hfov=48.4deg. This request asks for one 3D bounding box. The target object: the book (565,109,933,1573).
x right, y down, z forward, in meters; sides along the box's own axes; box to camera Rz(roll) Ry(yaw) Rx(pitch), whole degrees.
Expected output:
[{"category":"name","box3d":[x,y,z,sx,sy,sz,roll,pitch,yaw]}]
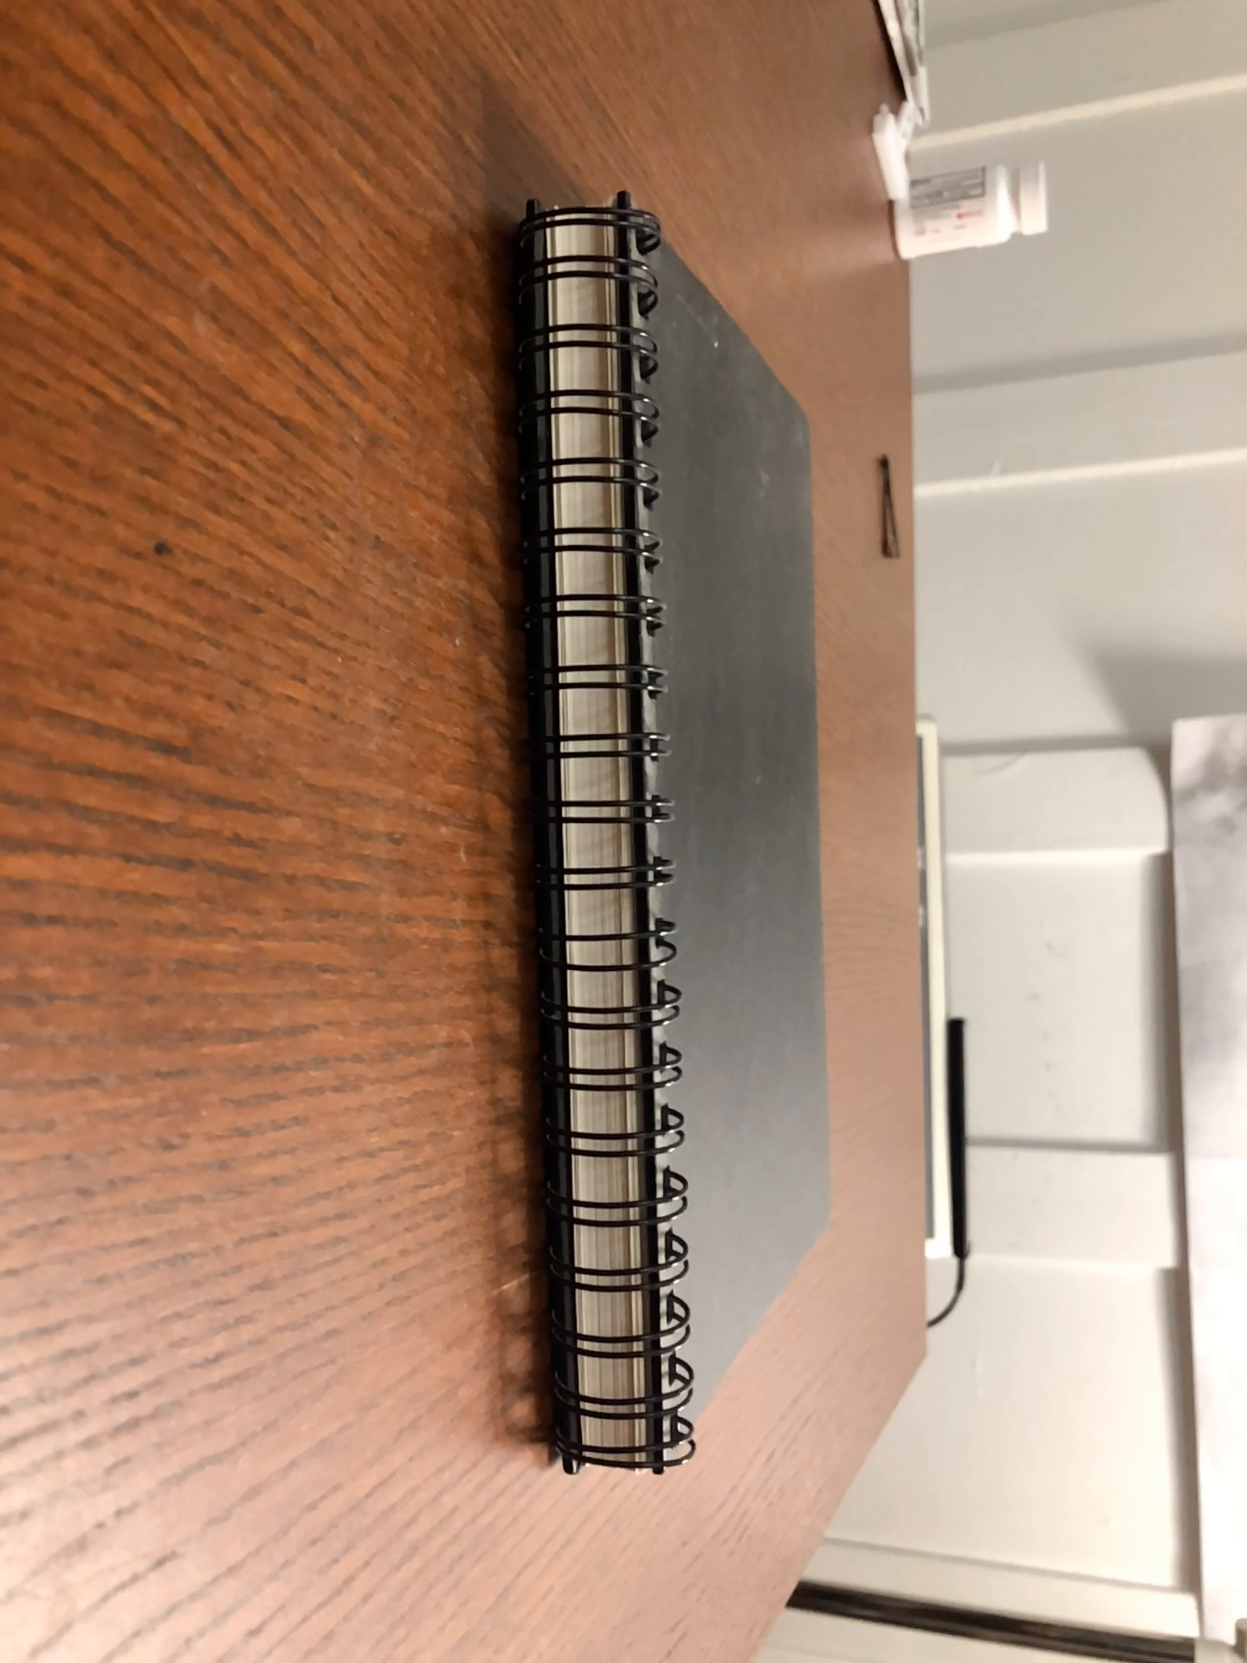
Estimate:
[{"category":"book","box3d":[0.044,0.000,0.345,0.201,0.030,0.260,-7,95,-70]}]
